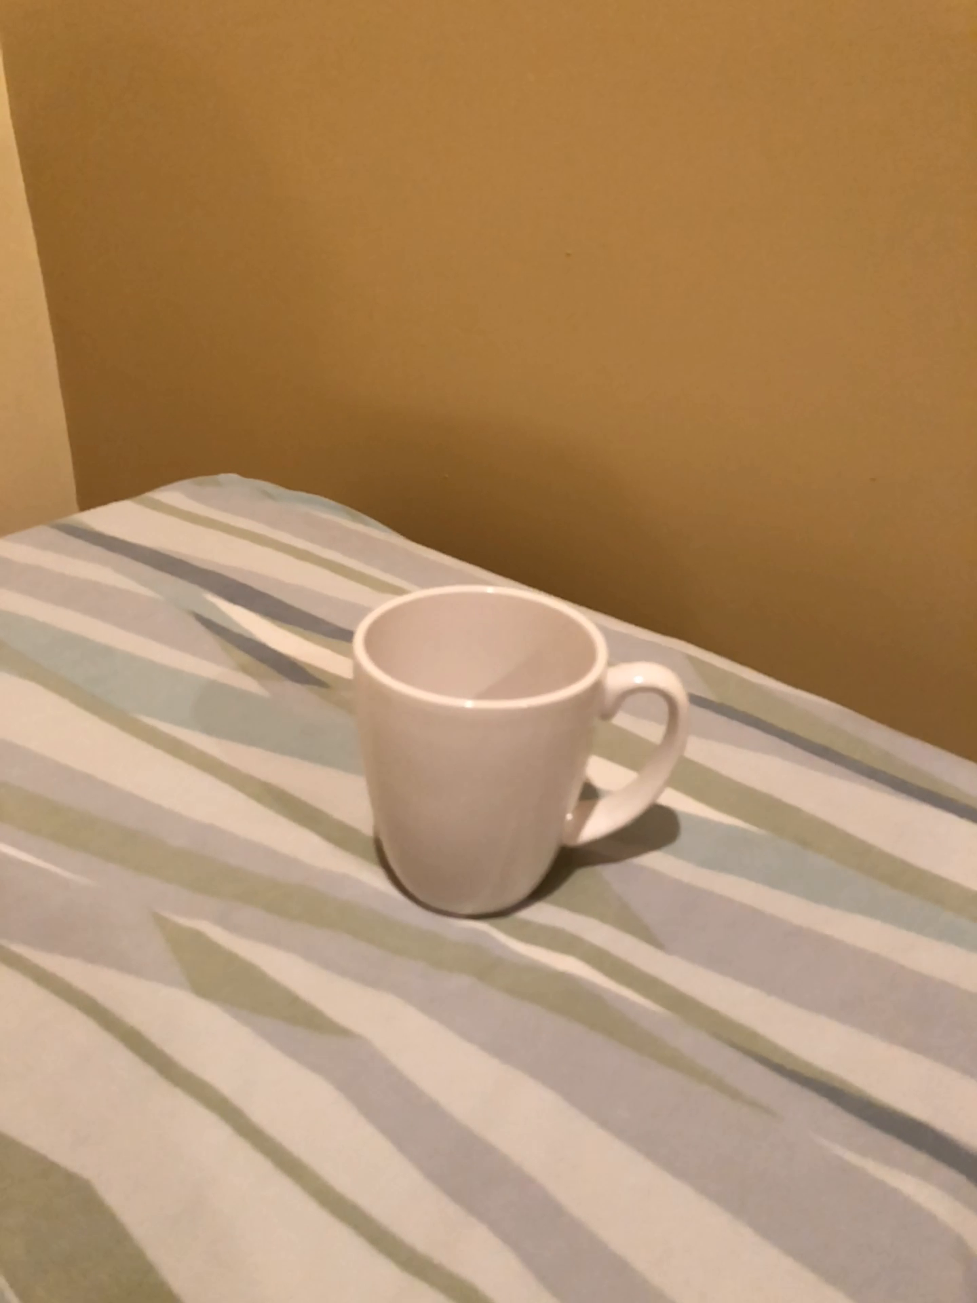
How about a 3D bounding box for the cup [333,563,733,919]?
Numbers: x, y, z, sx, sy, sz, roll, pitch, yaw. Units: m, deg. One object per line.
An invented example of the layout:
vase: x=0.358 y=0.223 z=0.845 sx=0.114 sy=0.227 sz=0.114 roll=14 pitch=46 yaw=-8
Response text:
cup: x=0.011 y=0.029 z=0.380 sx=0.120 sy=0.090 sz=0.090 roll=0 pitch=30 yaw=-3
